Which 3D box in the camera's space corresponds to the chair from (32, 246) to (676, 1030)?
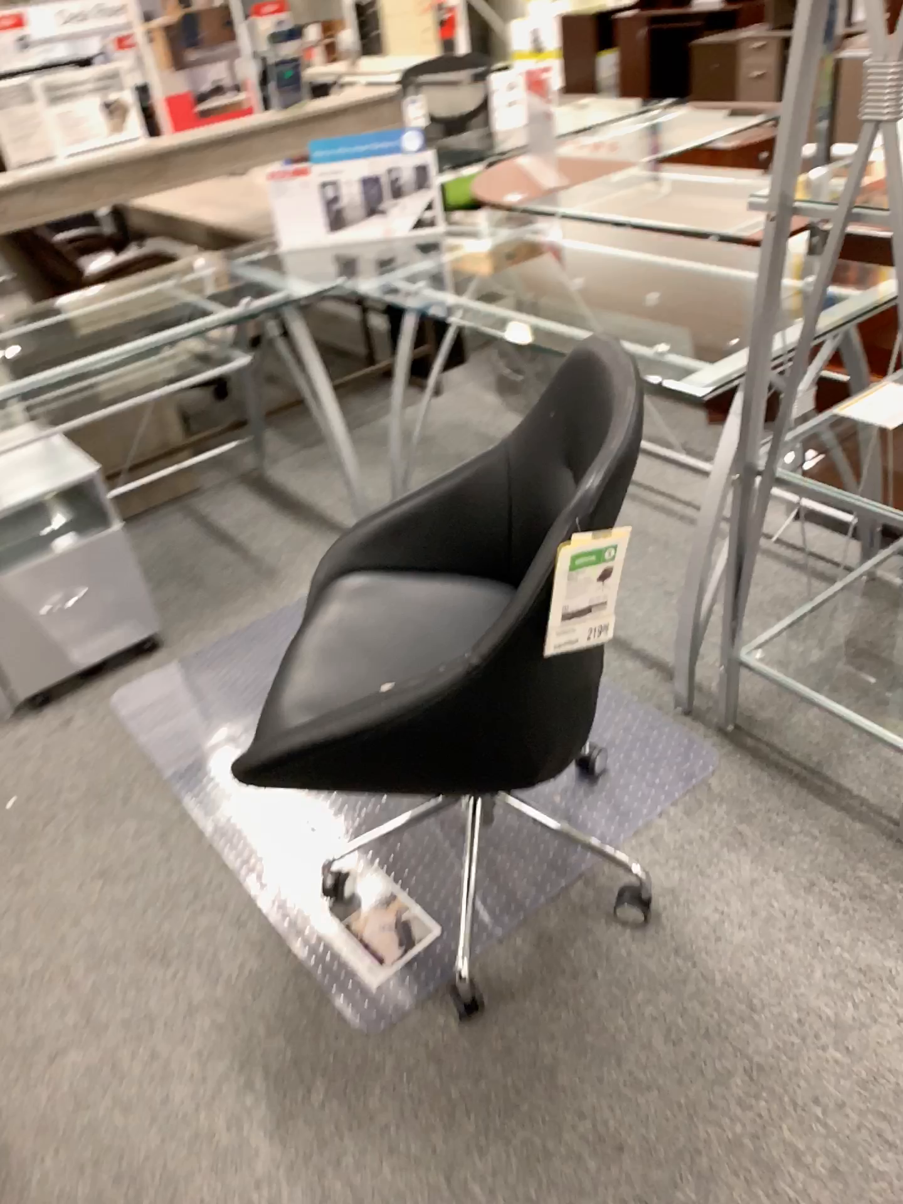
[{"bbox_3d":[-0.007,0.052,1.386,0.620,0.885,0.673,-2,35,11],"label":"chair"}]
